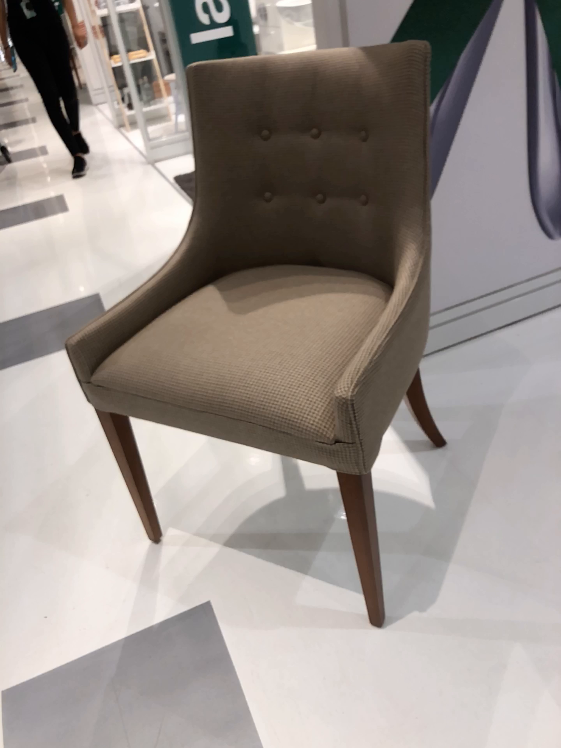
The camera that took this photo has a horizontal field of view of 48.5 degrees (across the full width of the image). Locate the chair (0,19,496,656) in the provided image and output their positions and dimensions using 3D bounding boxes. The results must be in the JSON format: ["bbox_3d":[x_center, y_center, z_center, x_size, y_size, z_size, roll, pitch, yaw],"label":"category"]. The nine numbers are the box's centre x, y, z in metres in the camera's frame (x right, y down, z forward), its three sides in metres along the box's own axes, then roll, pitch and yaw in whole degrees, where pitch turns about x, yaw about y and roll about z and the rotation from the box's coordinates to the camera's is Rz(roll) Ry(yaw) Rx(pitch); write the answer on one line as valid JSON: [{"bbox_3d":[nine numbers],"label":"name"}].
[{"bbox_3d":[-0.016,-0.102,1.106,0.591,0.794,0.593,12,40,31],"label":"chair"}]
